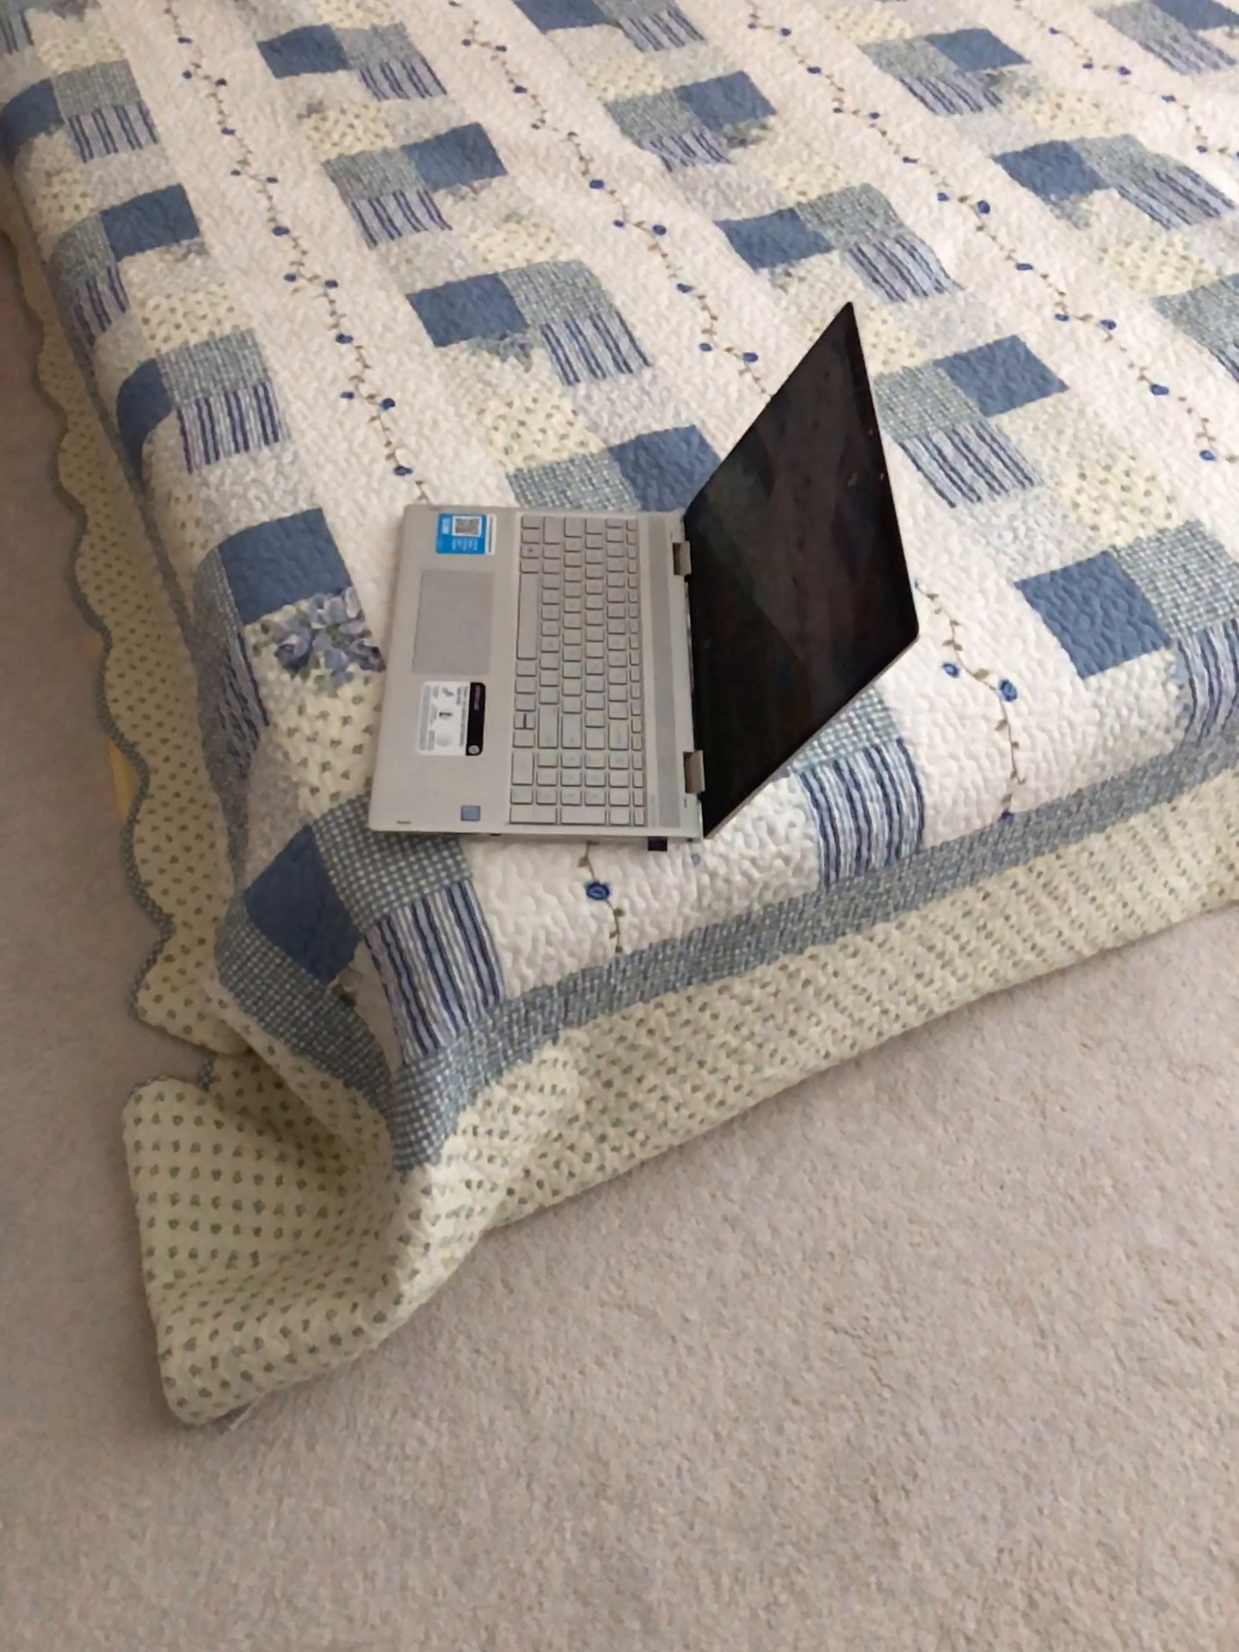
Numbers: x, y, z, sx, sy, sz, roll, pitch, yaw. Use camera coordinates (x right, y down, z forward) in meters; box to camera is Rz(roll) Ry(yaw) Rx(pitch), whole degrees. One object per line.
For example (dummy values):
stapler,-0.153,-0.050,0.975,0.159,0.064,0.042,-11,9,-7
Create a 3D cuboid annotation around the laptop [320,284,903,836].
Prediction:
laptop,-0.007,-0.203,1.023,0.357,0.208,0.356,1,53,-2
